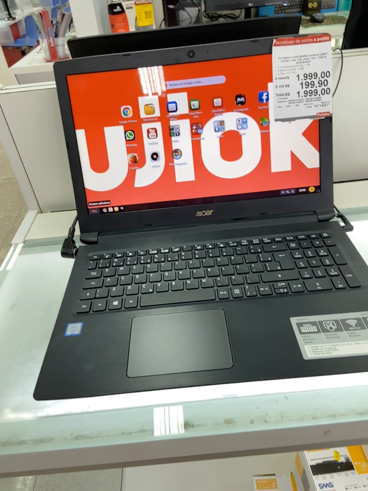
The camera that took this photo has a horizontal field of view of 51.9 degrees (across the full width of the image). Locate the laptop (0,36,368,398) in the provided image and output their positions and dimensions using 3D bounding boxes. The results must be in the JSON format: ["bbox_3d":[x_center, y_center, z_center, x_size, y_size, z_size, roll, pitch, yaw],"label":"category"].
[{"bbox_3d":[0.026,-0.070,0.447,0.392,0.230,0.372,-6,37,1],"label":"laptop"}]
